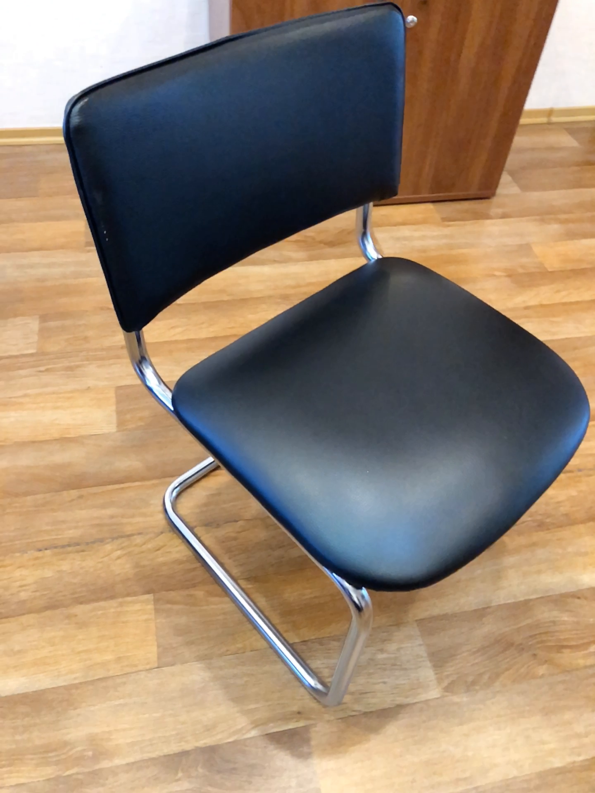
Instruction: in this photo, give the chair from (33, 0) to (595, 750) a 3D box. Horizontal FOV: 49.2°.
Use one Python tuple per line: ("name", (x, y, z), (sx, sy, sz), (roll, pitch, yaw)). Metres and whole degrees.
("chair", (0.088, -0.011, 0.887), (0.493, 0.745, 0.525), (-33, 59, -28))
